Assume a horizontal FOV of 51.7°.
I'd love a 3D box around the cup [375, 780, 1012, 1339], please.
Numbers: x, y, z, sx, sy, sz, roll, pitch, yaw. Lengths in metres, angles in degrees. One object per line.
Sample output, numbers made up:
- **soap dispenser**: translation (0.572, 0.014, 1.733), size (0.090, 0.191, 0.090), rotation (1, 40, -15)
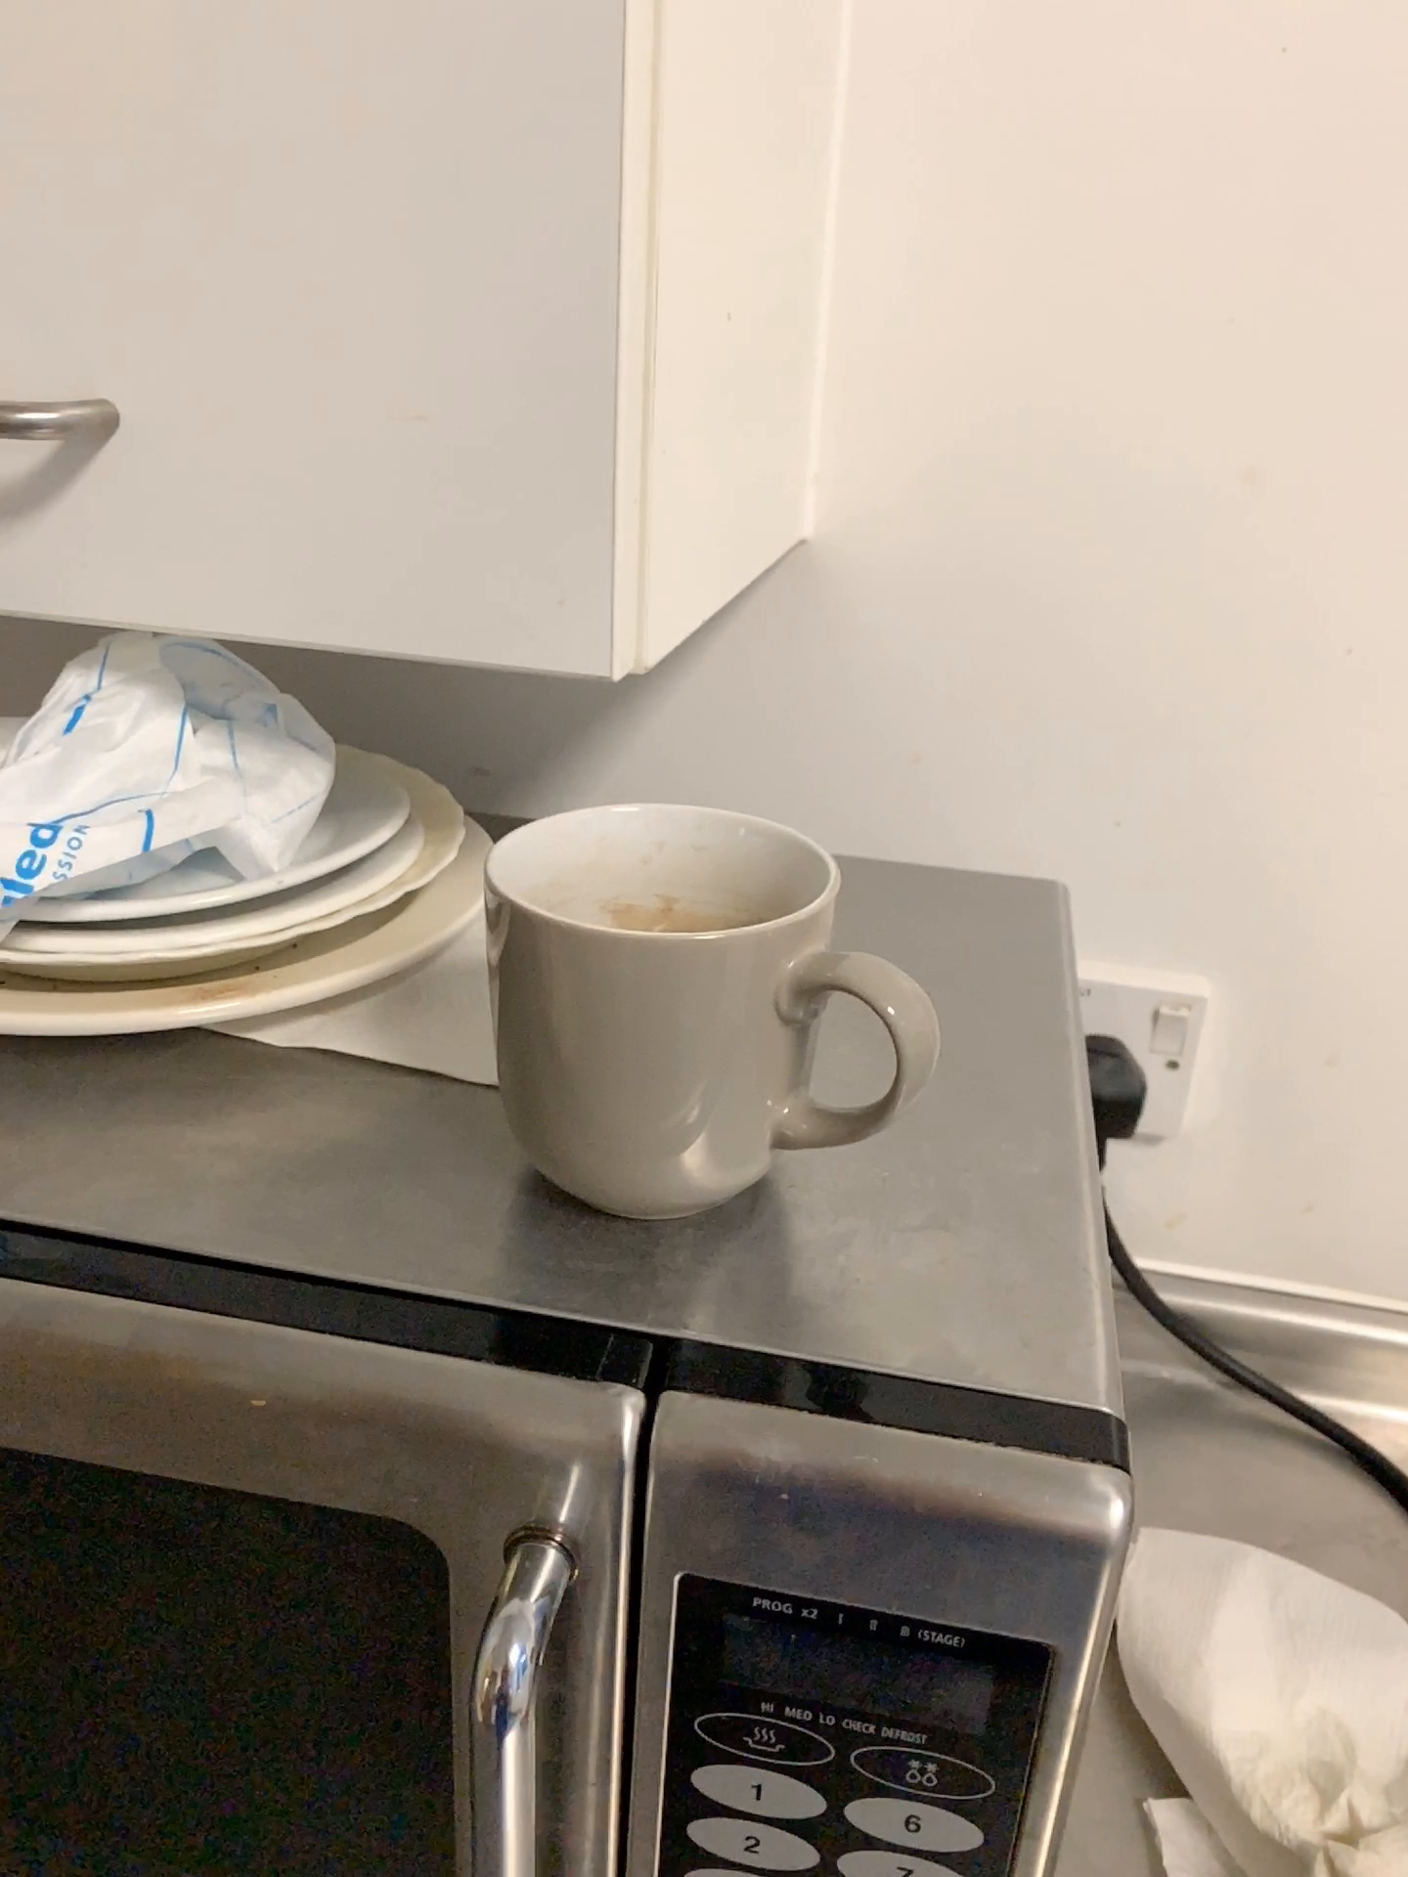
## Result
- **cup**: translation (-0.001, 0.021, 0.373), size (0.124, 0.079, 0.102), rotation (14, 26, 25)
